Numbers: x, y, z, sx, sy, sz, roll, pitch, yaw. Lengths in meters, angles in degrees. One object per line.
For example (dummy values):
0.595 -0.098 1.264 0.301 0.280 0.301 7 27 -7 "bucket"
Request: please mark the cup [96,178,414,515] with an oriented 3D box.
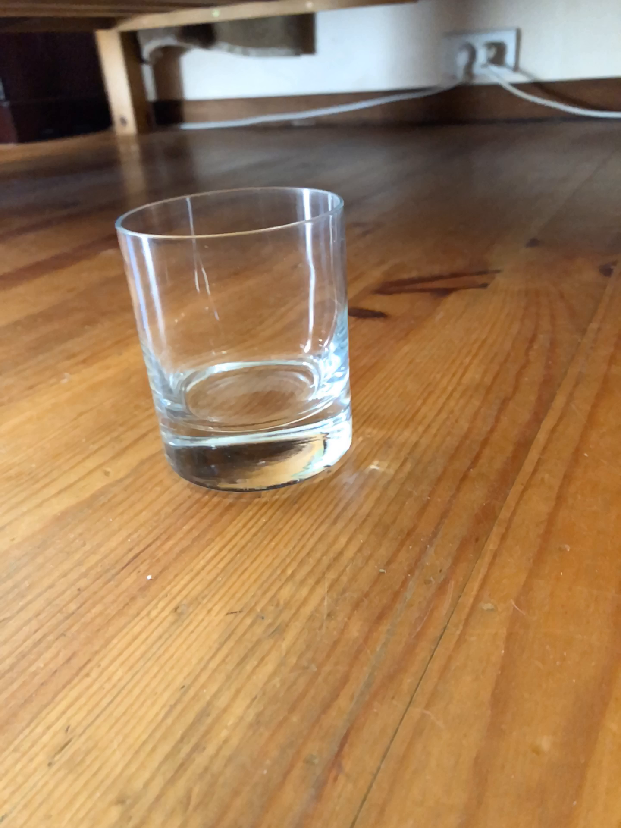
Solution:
-0.020 -0.033 0.263 0.087 0.090 0.083 -4 27 2 "cup"
